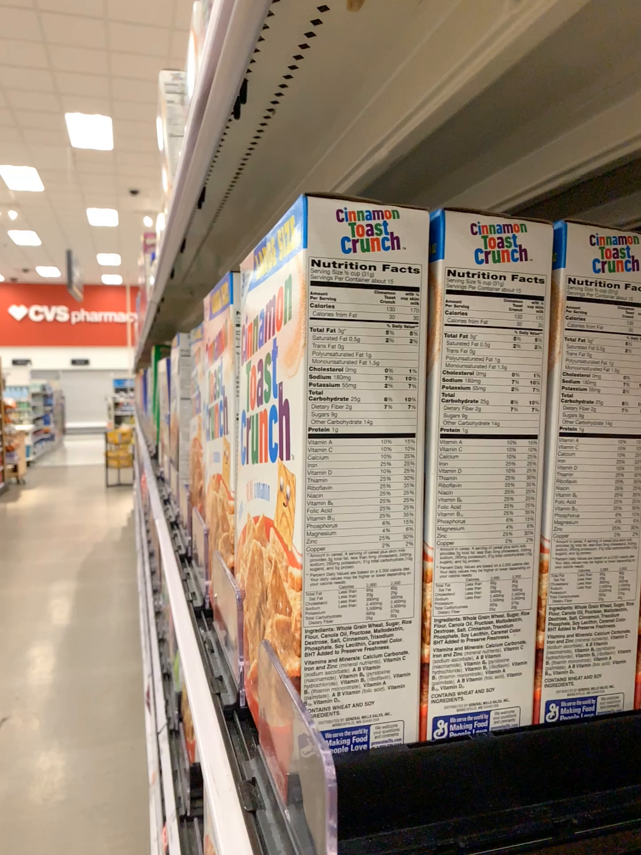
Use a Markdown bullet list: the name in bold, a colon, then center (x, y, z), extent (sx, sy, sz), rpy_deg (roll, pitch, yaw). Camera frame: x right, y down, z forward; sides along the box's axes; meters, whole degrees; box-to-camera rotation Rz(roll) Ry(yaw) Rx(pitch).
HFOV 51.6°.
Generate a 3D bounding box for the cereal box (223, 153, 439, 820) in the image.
- **cereal box**: center (-0.008, 0.023, 0.388), extent (0.070, 0.290, 0.190), rpy_deg (0, 3, -15)
